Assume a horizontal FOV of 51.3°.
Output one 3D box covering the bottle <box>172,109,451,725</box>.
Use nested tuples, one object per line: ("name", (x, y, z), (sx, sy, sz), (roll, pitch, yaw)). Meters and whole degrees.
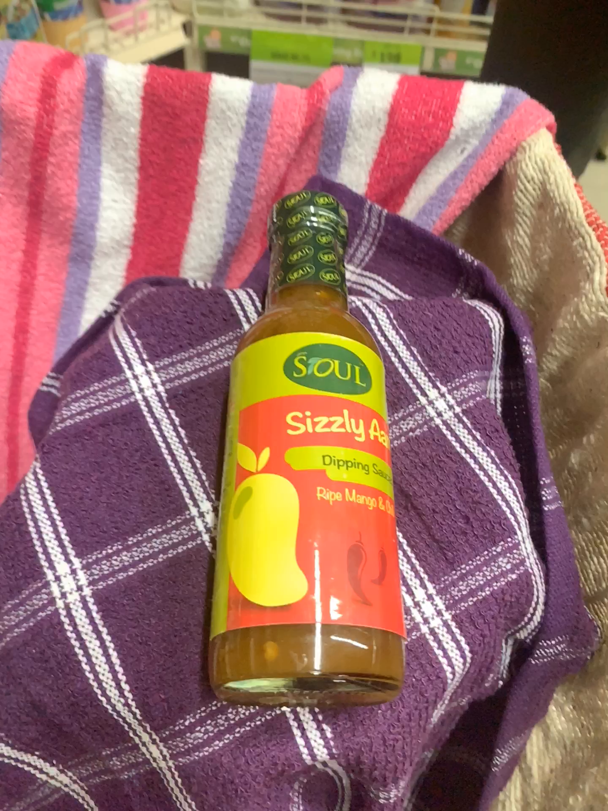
("bottle", (0.001, -0.007, 0.212), (0.060, 0.060, 0.200), (2, 60, -3))
